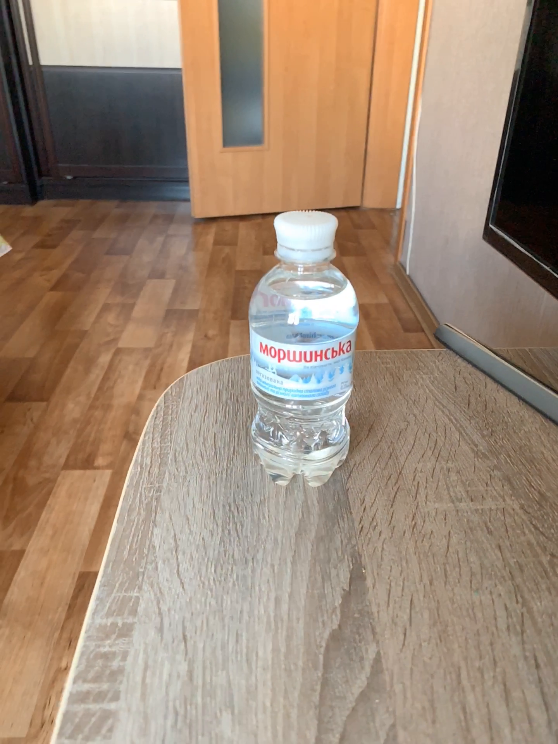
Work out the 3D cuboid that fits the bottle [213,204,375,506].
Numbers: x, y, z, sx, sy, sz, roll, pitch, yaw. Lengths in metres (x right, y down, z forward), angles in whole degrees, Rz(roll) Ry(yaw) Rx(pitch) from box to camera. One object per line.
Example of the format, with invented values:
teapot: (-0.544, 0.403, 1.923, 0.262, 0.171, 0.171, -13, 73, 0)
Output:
bottle: (0.006, -0.008, 0.317, 0.070, 0.149, 0.070, 1, 30, 0)
